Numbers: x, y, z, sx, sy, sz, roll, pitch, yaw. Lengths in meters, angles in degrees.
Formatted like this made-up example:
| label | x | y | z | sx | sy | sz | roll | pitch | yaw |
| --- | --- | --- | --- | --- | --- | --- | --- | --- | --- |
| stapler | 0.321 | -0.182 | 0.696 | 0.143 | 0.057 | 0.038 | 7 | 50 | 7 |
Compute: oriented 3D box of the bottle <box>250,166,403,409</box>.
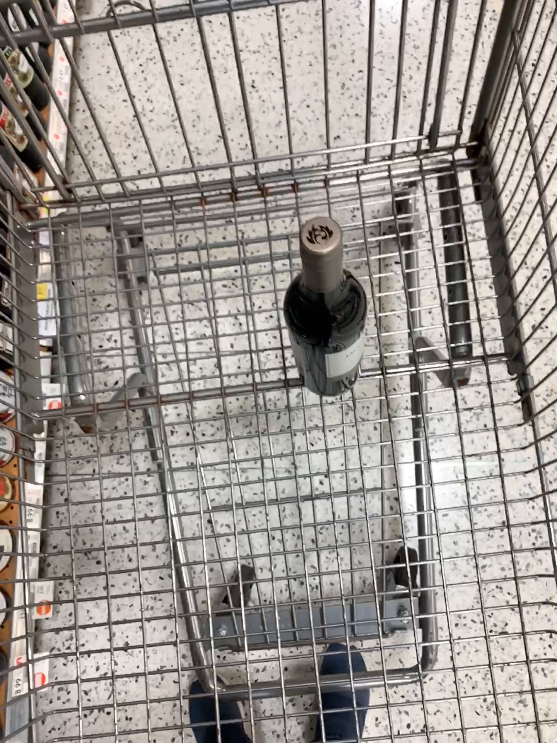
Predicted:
| label | x | y | z | sx | sy | sz | roll | pitch | yaw |
| --- | --- | --- | --- | --- | --- | --- | --- | --- | --- |
| bottle | 0.043 | -0.050 | 0.536 | 0.090 | 0.319 | 0.090 | -1 | 74 | 3 |
